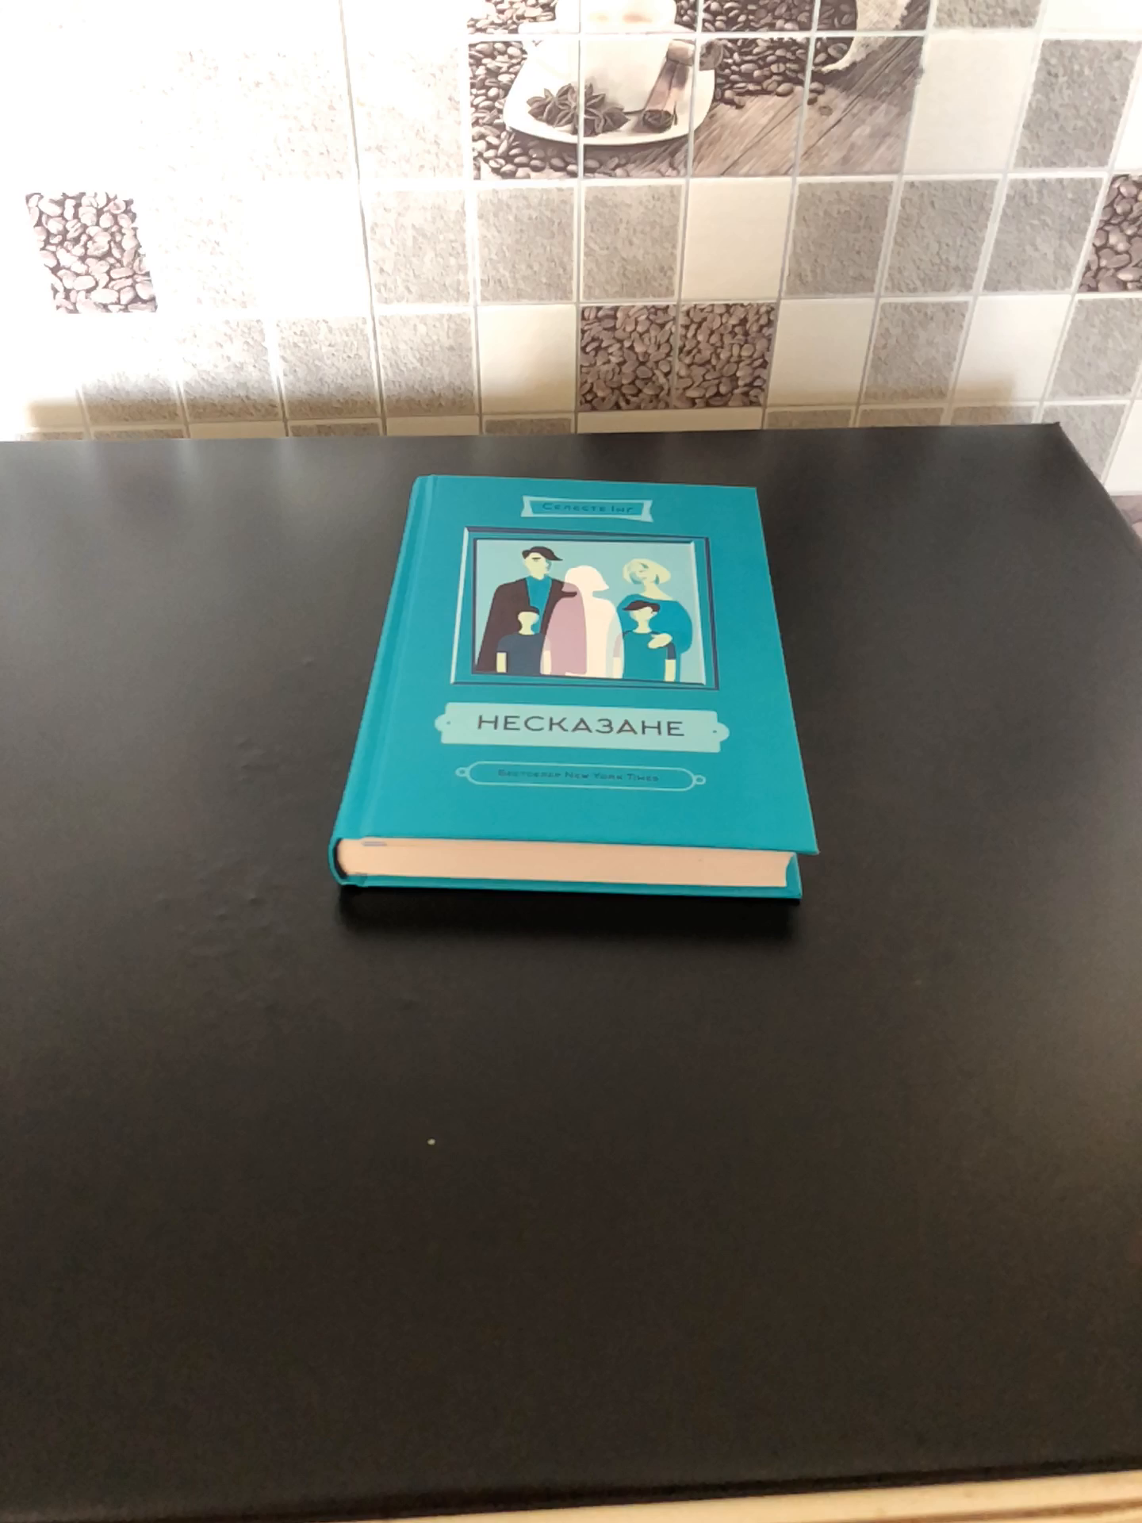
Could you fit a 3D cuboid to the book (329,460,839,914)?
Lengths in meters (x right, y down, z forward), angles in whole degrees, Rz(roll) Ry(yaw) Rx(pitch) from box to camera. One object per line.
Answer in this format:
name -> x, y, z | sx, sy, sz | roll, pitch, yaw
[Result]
book -> 0.006, -0.039, 0.455 | 0.150, 0.030, 0.211 | 2, 44, 0
